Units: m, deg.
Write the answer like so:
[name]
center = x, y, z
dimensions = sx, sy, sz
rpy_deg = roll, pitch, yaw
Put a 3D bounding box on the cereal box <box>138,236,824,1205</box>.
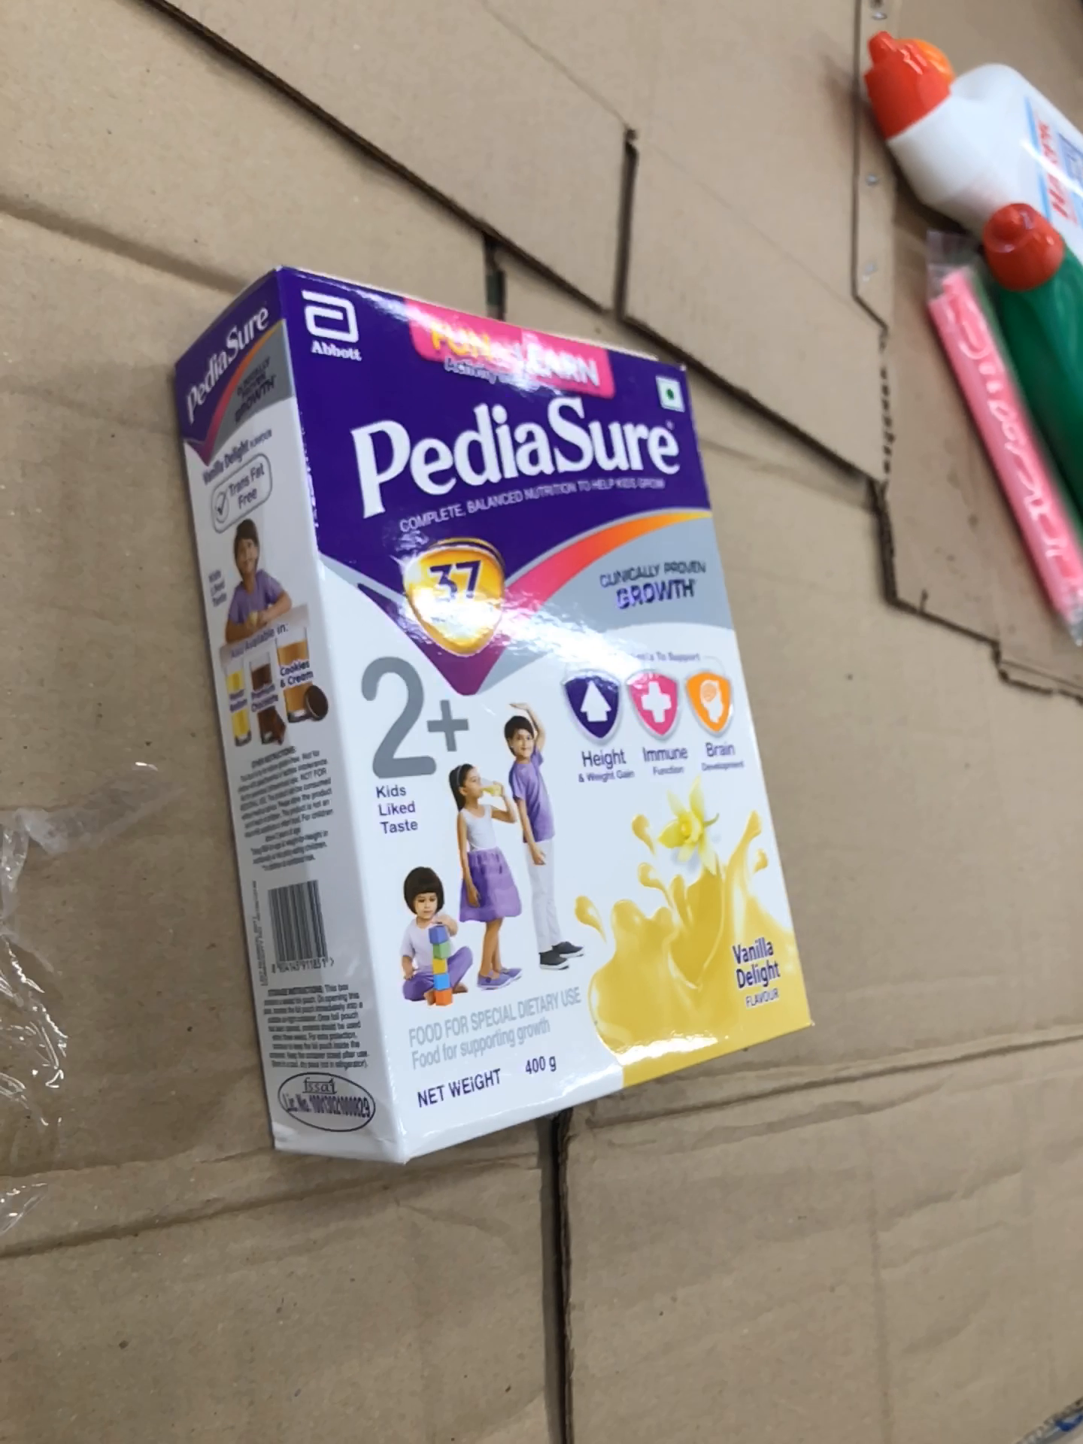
[cereal box]
center = -0.010, -0.002, 0.298
dimensions = 0.141, 0.050, 0.190
rpy_deg = -2, 79, -43
